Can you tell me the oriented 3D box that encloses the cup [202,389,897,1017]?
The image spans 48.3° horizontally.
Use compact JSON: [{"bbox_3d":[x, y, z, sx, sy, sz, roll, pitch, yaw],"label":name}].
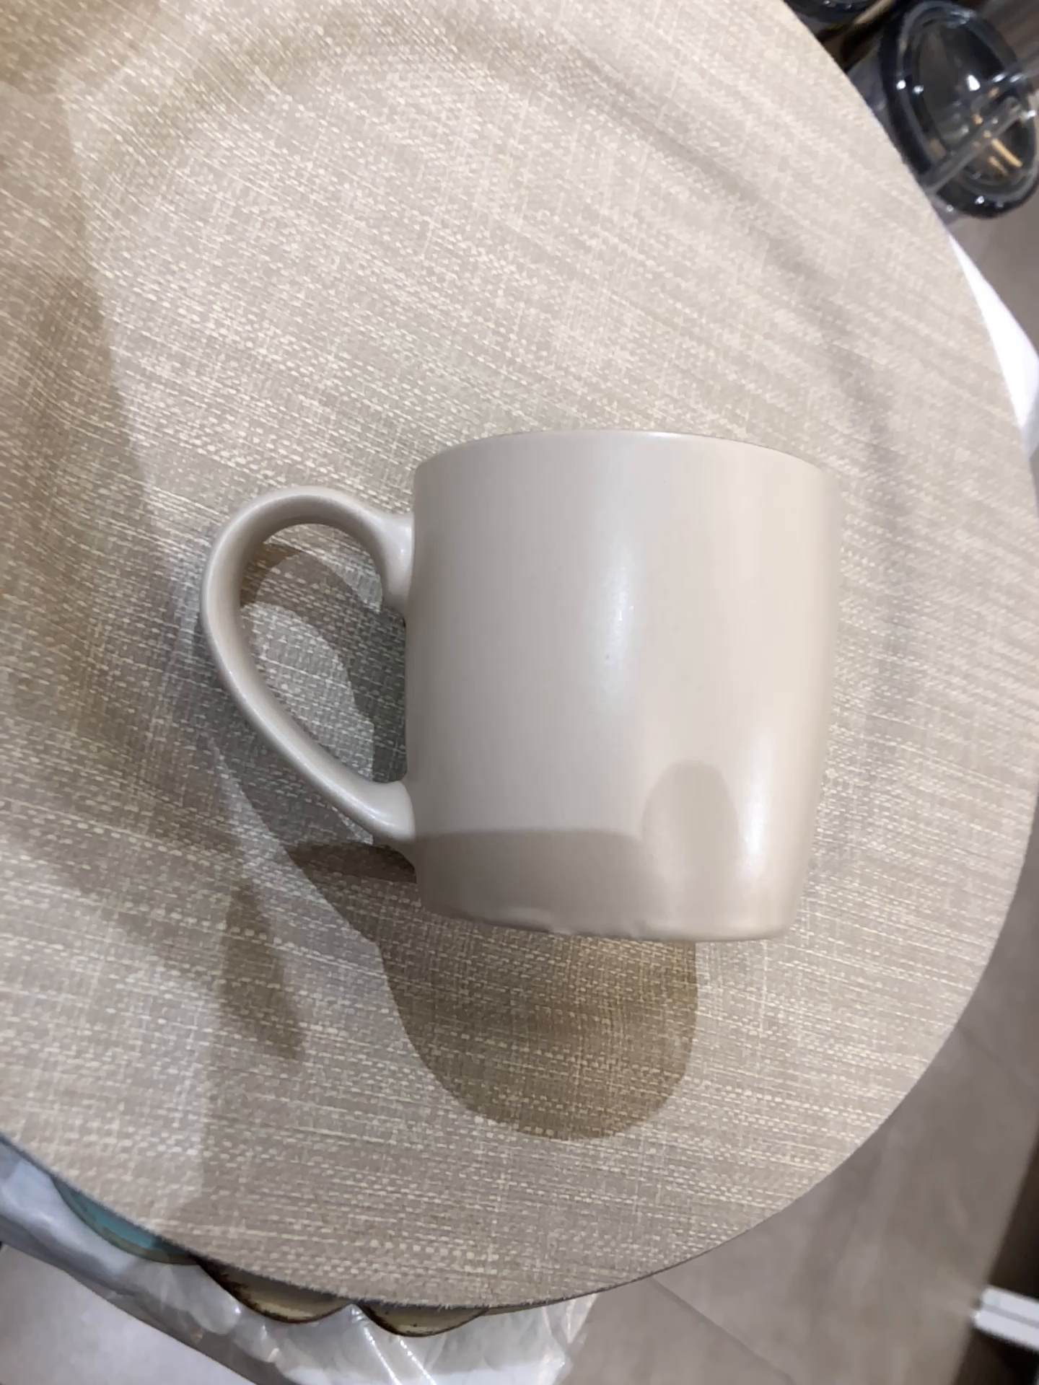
[{"bbox_3d":[0.008,0.003,0.210,0.100,0.080,0.090,1,85,5],"label":"cup"}]
